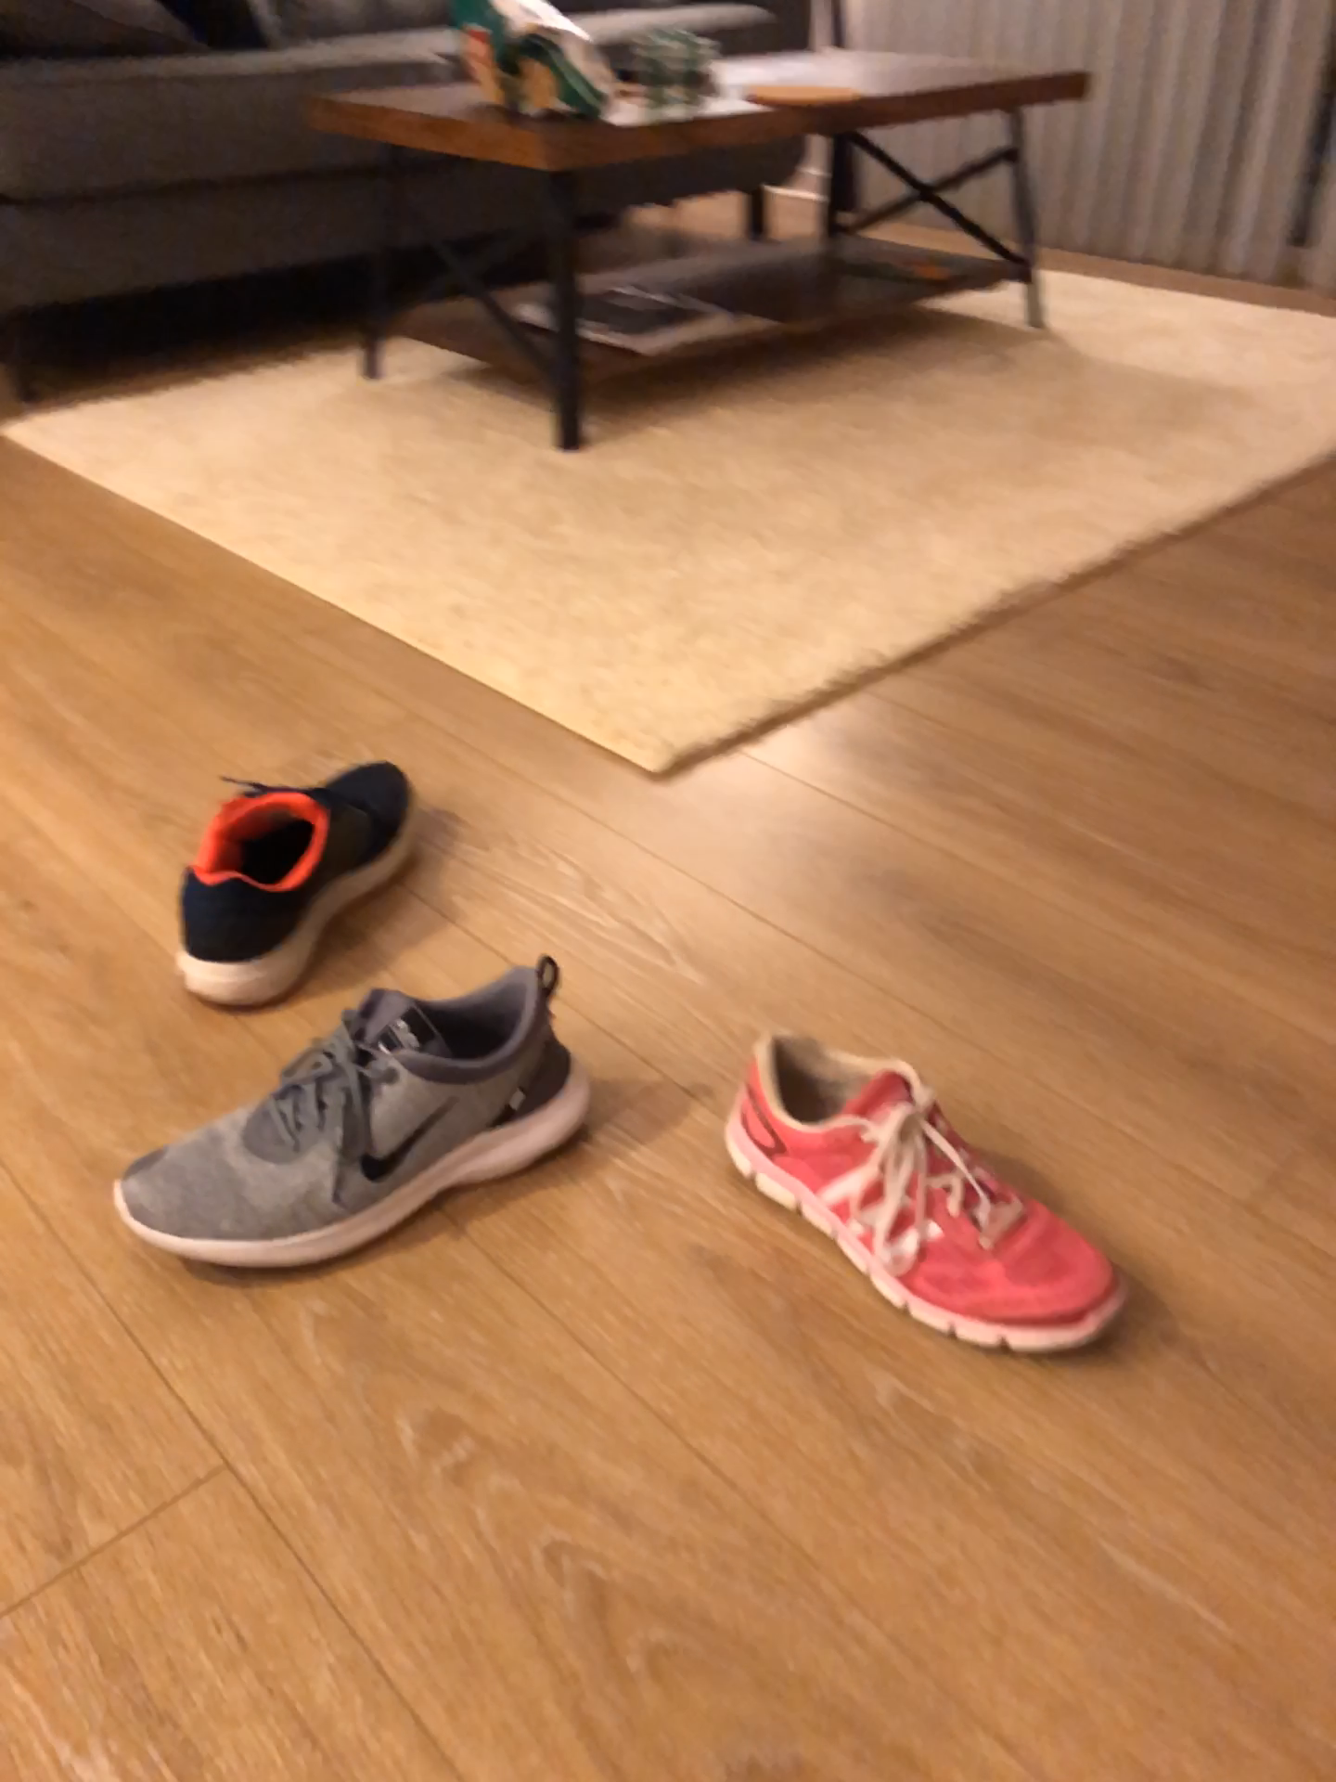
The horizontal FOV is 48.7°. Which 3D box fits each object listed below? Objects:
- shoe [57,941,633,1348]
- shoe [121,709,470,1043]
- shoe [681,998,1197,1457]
[{"bbox_3d":[-0.196,0.148,0.927,0.320,0.099,0.131,-16,36,-22],"label":"shoe"},{"bbox_3d":[-0.285,-0.025,1.194,0.130,0.099,0.322,8,34,13],"label":"shoe"},{"bbox_3d":[0.152,0.190,0.893,0.281,0.099,0.120,27,42,35],"label":"shoe"}]
